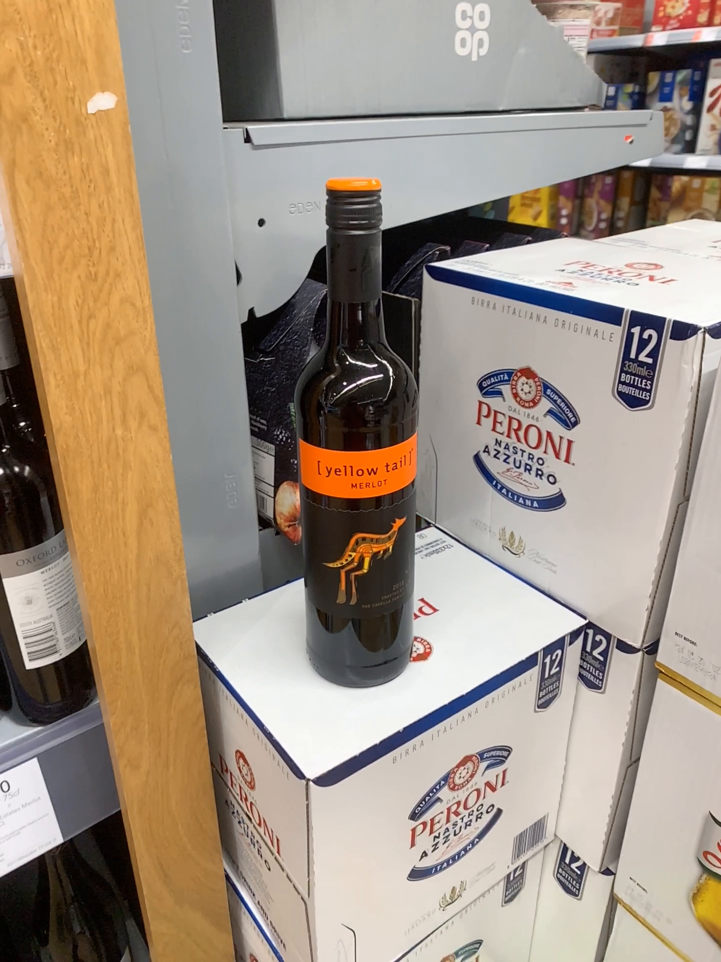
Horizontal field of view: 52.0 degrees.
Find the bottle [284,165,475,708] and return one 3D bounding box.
[{"bbox_3d":[0.008,-0.017,0.426,0.078,0.297,0.077,-1,25,0],"label":"bottle"}]
